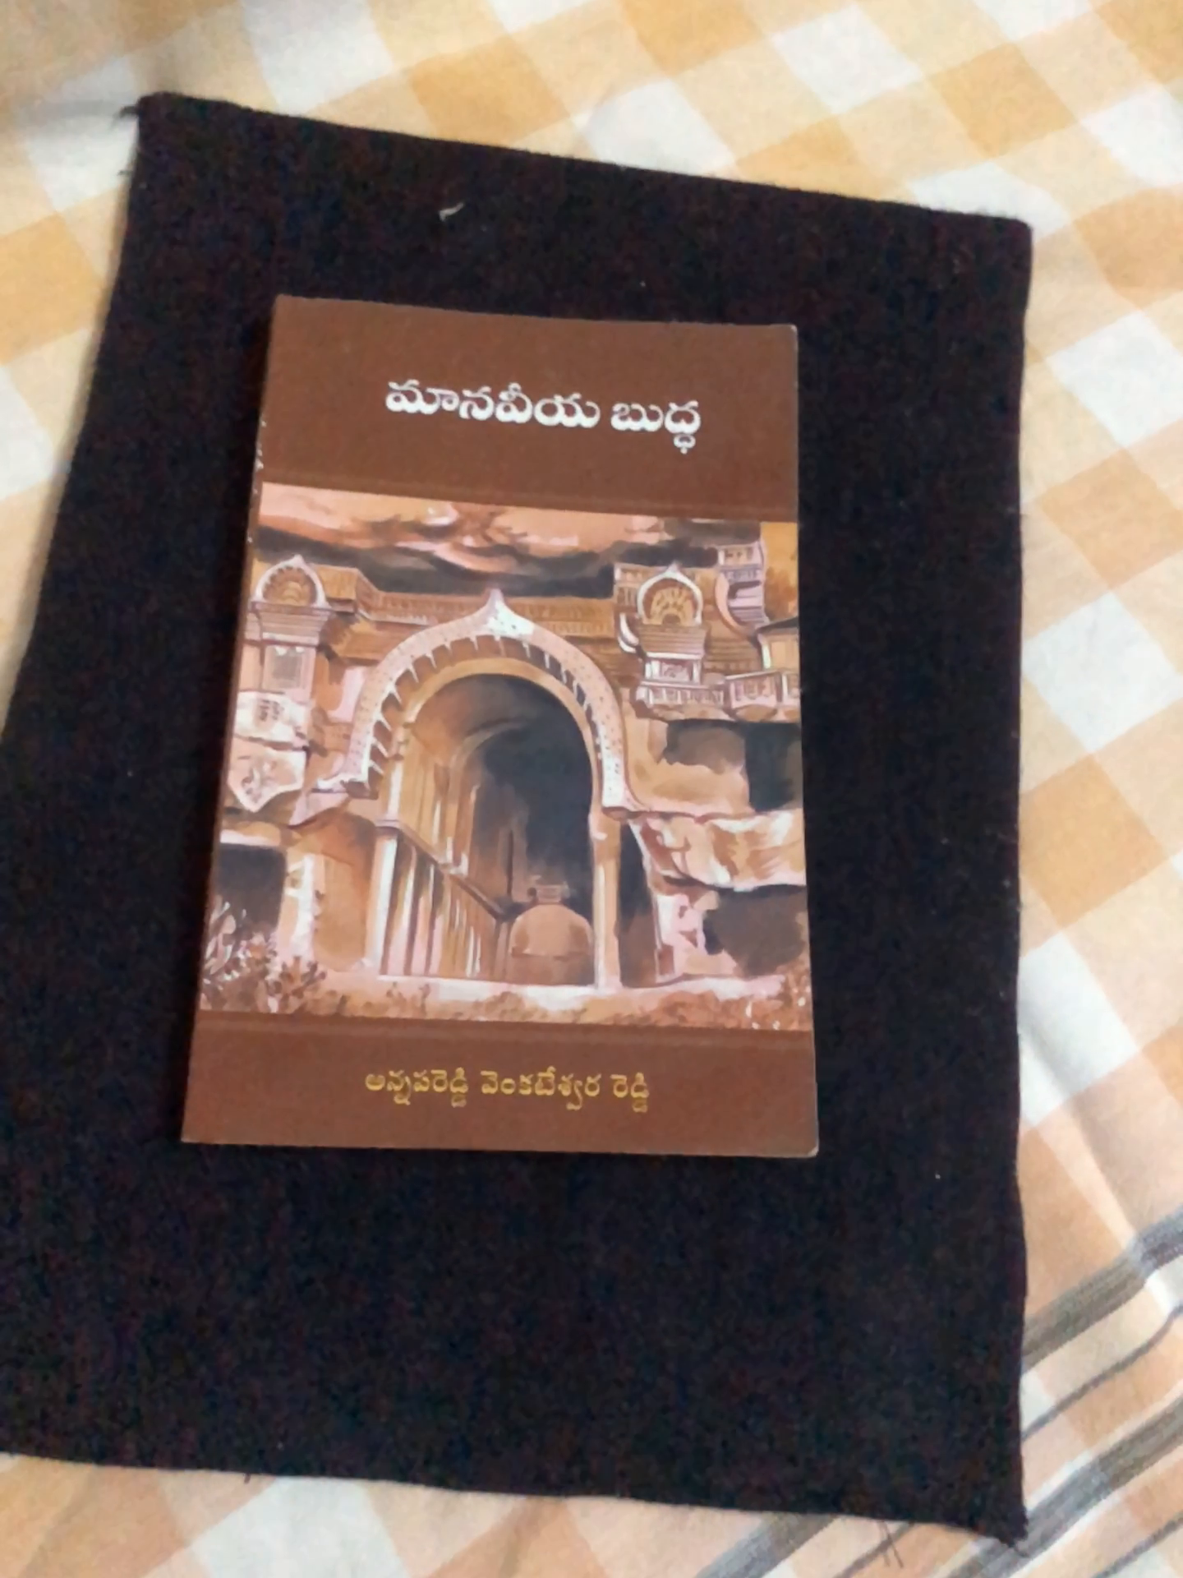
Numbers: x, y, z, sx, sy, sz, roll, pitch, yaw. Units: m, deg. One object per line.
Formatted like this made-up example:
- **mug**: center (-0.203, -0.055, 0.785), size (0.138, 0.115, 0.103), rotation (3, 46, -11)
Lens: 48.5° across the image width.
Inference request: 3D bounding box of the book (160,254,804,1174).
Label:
- **book**: center (-0.020, -0.026, 0.328), size (0.140, 0.020, 0.230), rotation (2, 74, -3)
